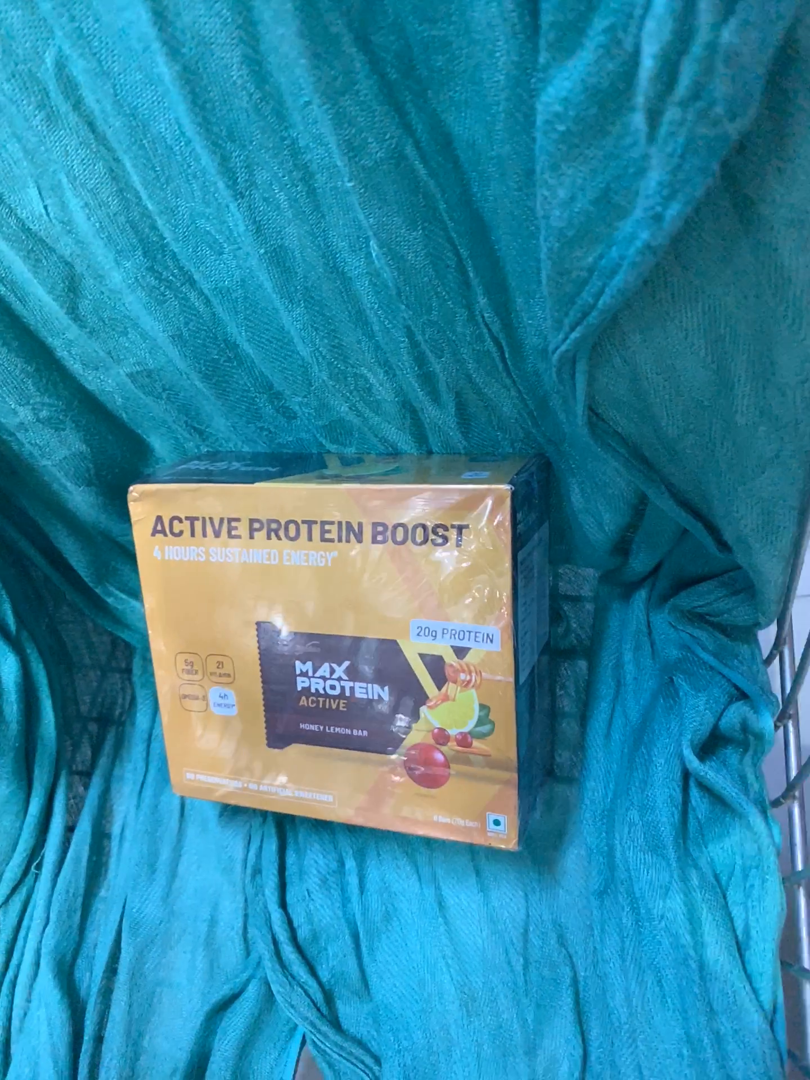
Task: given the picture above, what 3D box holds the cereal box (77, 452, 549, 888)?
[{"bbox_3d":[-0.030,0.040,0.335,0.160,0.080,0.140,2,103,21],"label":"cereal box"}]
